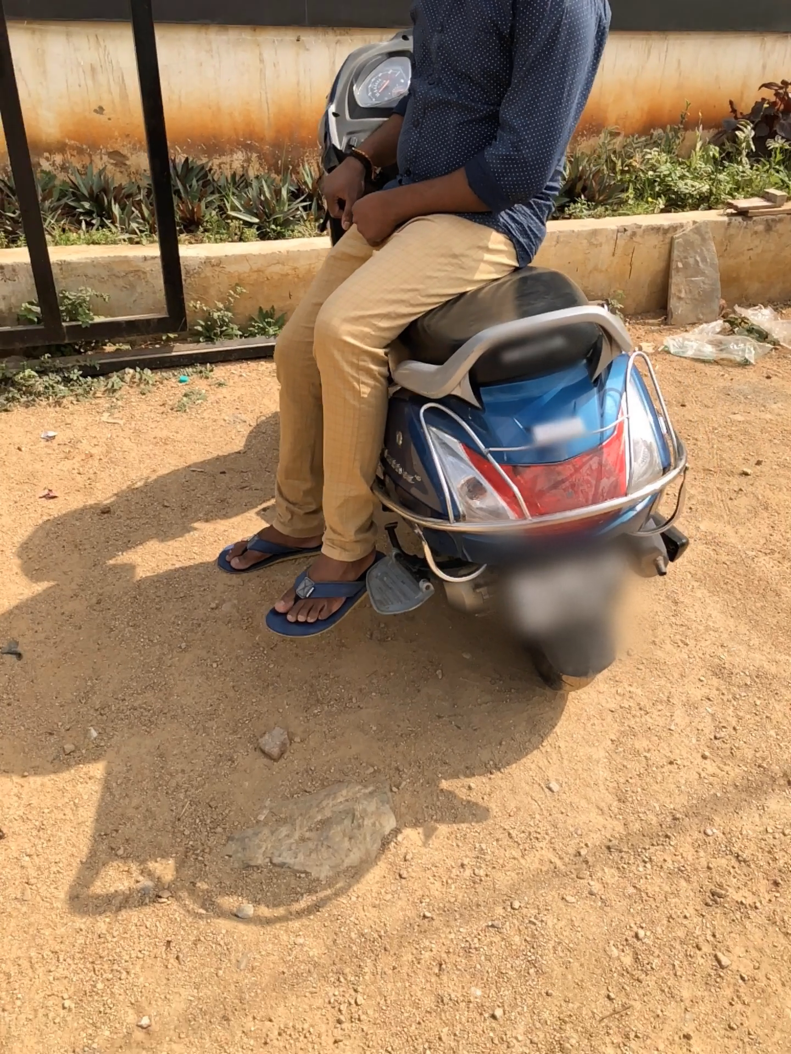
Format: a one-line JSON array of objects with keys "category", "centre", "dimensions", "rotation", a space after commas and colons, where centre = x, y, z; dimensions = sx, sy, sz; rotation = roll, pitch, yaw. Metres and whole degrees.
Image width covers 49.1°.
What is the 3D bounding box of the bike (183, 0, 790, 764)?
[{"category": "bike", "centre": [-0.032, -0.511, 1.924], "dimensions": [0.623, 1.115, 1.555], "rotation": [-7, 34, -14]}]
